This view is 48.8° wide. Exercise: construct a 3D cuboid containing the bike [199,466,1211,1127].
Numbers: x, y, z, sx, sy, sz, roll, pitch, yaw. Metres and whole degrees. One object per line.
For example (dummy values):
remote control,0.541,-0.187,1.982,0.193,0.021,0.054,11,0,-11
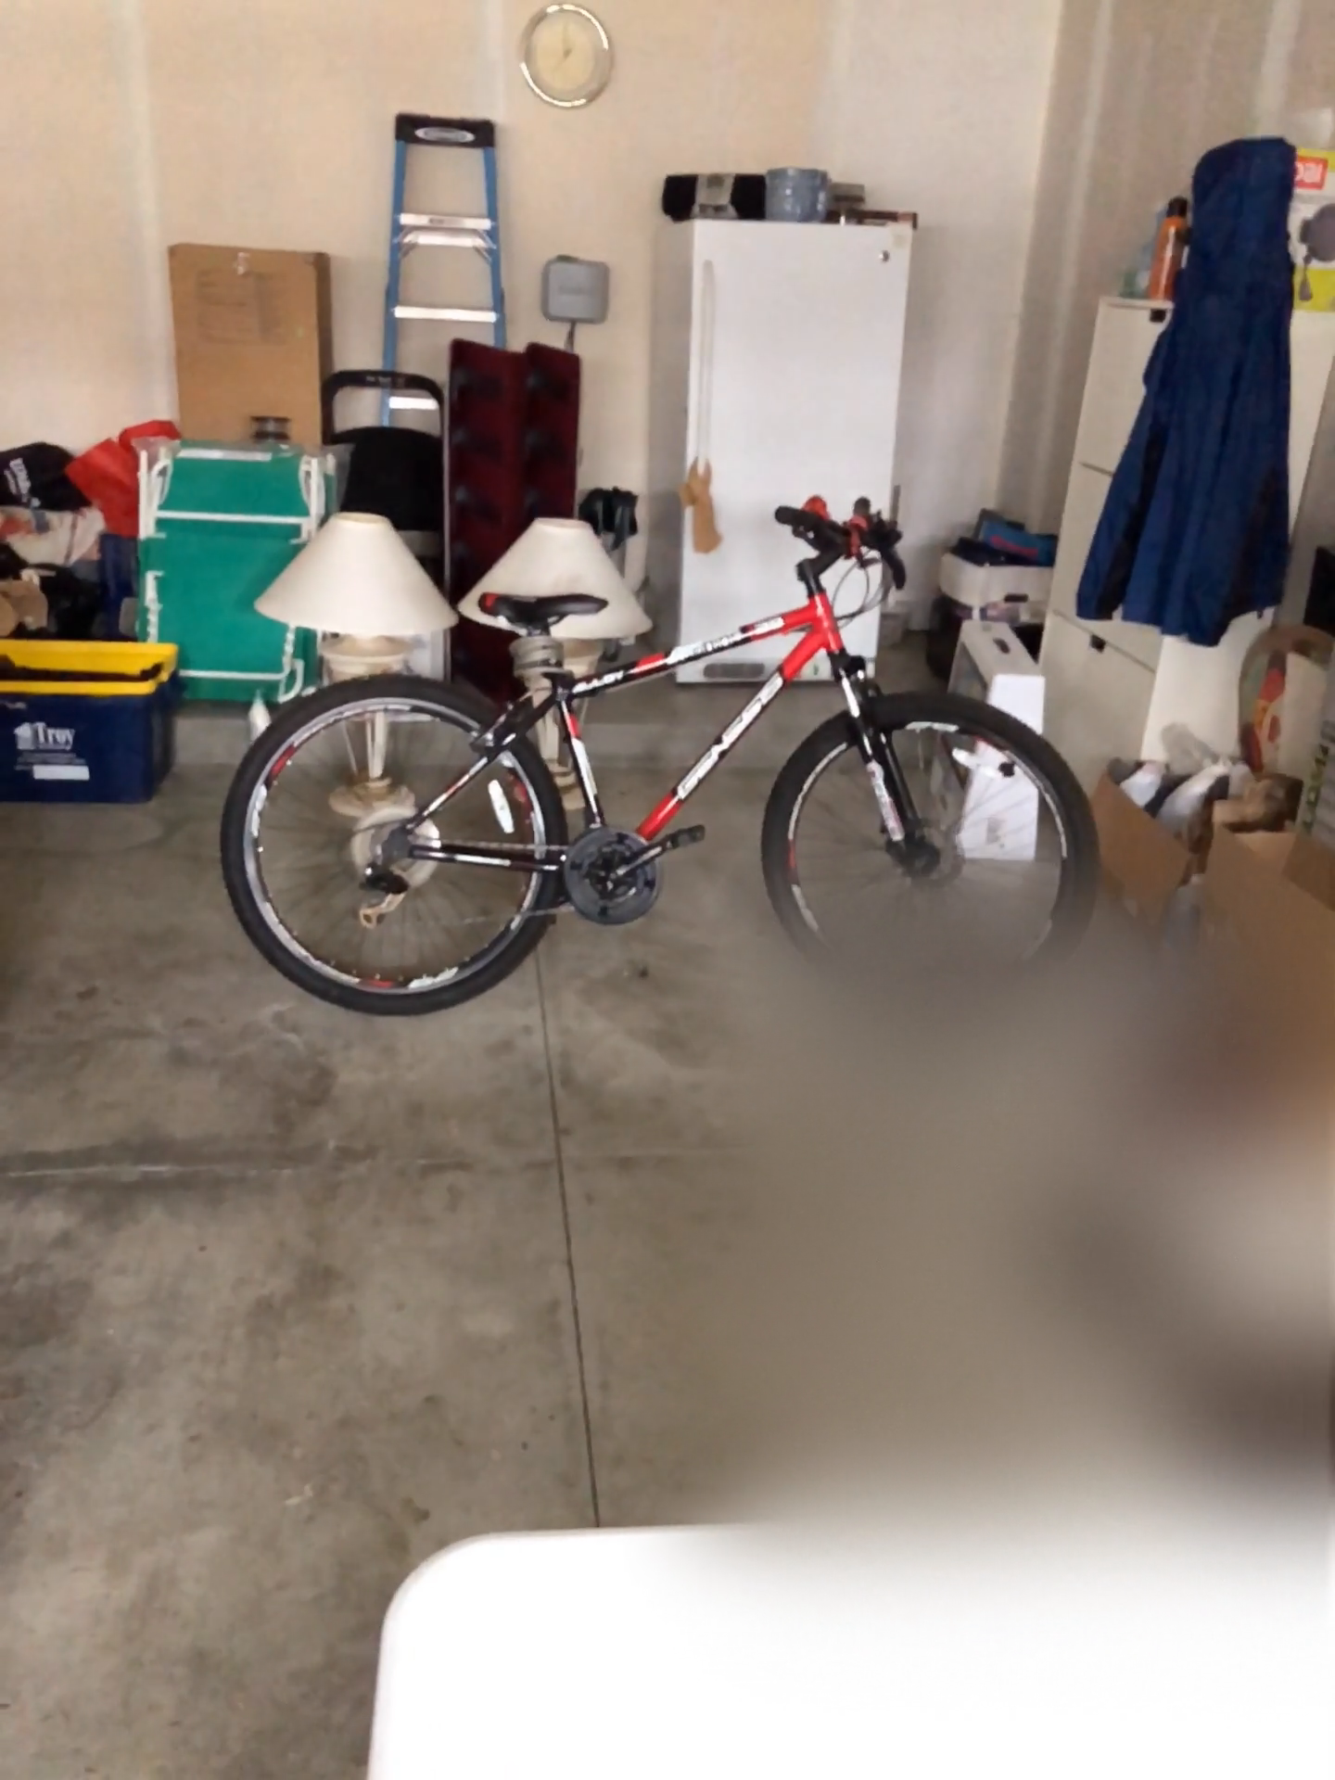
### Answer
bike,-0.020,-0.206,2.887,1.668,1.054,0.592,3,22,0
